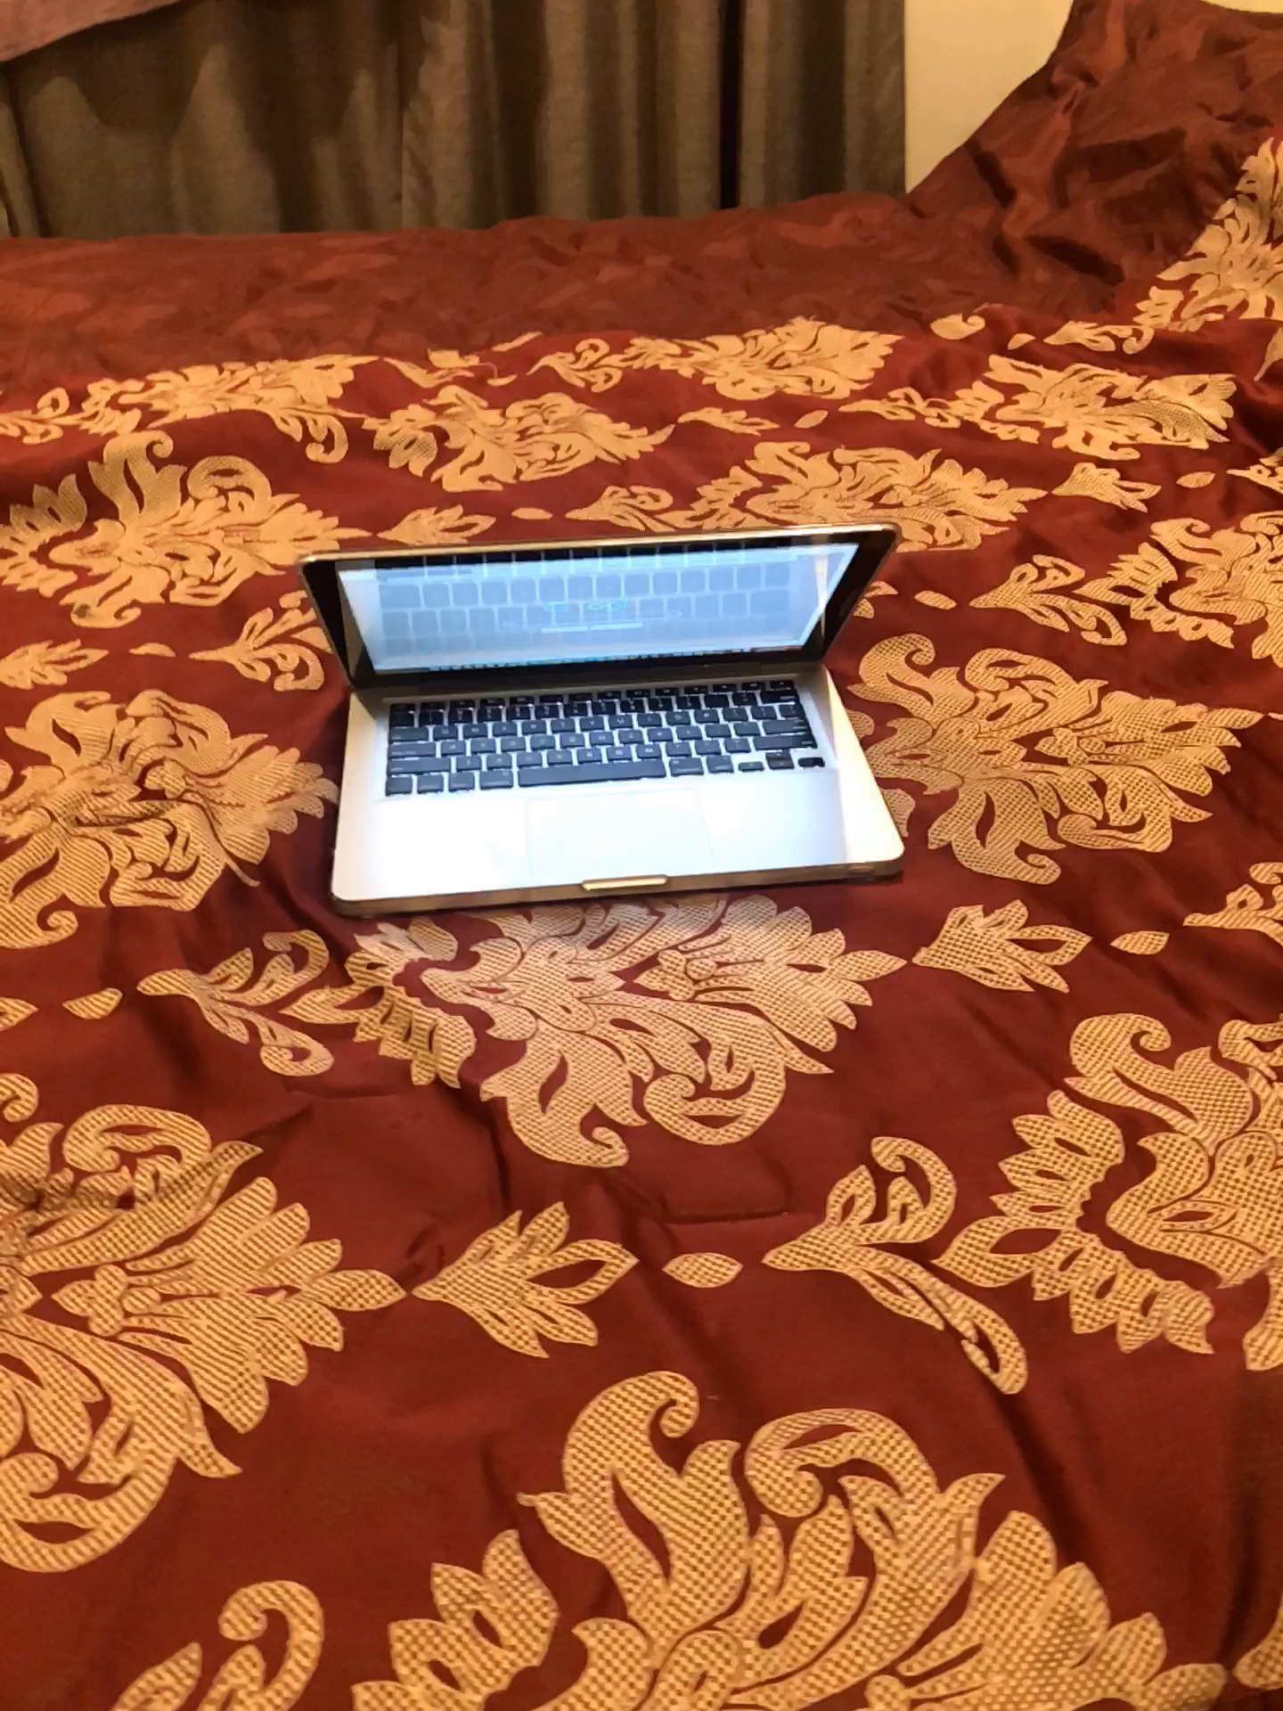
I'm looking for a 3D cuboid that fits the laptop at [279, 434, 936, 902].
[{"bbox_3d":[-0.022,-0.114,0.798,0.312,0.156,0.213,-4,37,-6],"label":"laptop"}]
